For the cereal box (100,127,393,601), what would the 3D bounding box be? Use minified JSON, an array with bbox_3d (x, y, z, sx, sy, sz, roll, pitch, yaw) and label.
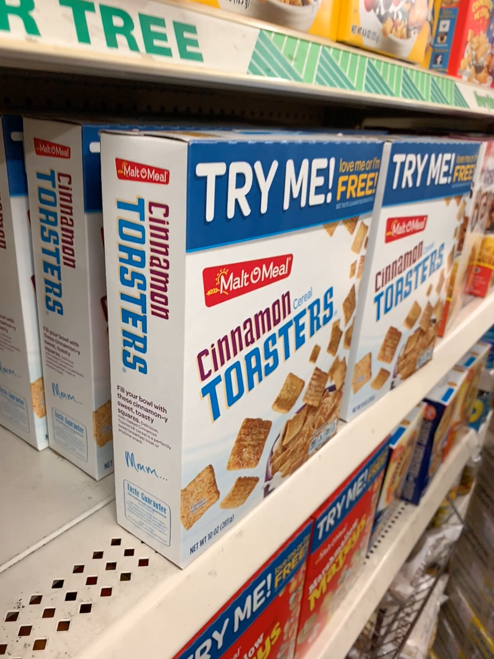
[{"bbox_3d":[0.006,0.004,0.287,0.050,0.209,0.170,20,27,31],"label":"cereal box"}]
